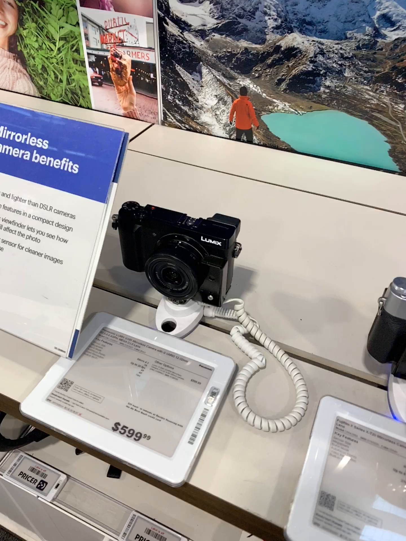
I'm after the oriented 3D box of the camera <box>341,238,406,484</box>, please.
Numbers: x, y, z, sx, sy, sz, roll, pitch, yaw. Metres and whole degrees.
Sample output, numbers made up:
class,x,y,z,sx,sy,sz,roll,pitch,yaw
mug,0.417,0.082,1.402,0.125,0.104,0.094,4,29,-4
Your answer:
class,x,y,z,sx,sy,sz,roll,pitch,yaw
camera,0.181,0.057,0.304,0.120,0.080,0.121,17,45,16

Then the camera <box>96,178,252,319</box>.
class,x,y,z,sx,sy,sz,roll,pitch,yaw
camera,-0.025,-0.023,0.396,0.120,0.080,0.070,17,45,17
